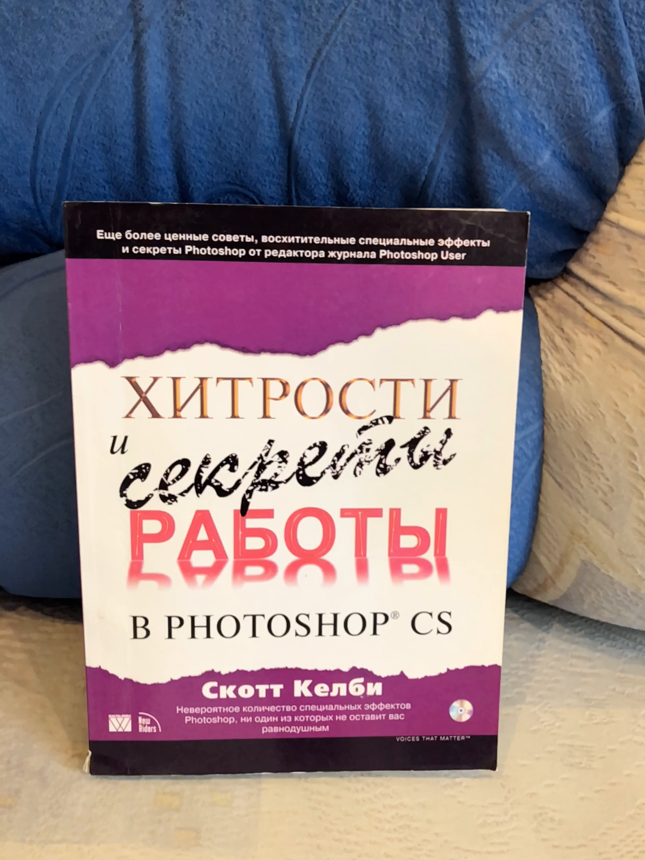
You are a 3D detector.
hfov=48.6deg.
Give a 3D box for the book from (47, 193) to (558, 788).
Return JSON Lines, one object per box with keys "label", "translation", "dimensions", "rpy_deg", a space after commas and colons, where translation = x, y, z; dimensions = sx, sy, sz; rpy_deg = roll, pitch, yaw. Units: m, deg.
{"label": "book", "translation": [-0.008, 0.034, 0.333], "dimensions": [0.209, 0.271, 0.030], "rpy_deg": [0, 11, -2]}
